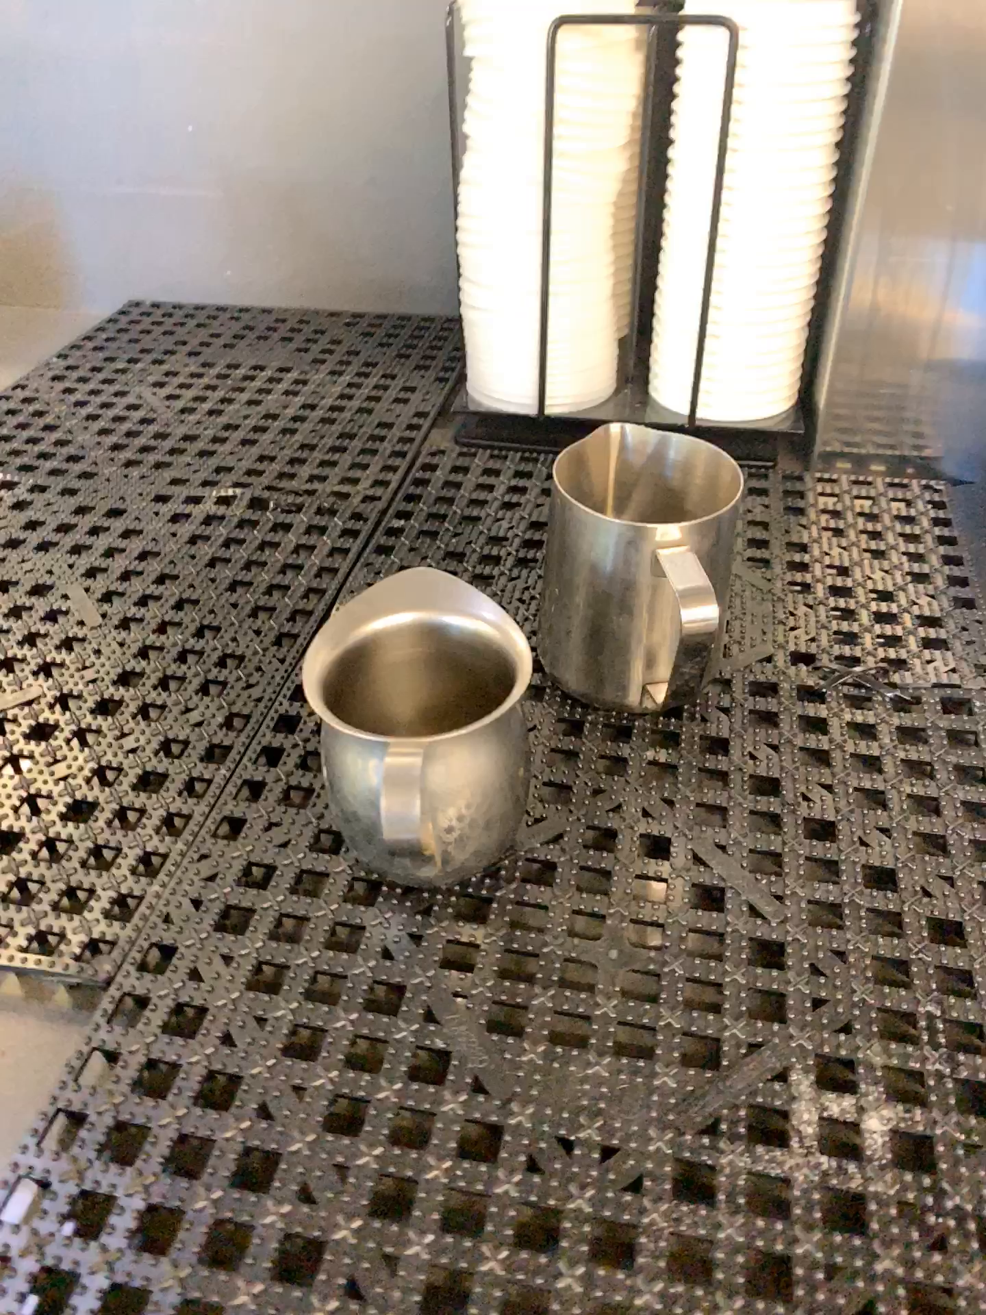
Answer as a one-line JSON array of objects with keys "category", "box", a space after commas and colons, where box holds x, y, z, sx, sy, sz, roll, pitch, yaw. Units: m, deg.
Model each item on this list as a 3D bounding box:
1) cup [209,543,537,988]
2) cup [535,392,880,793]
[{"category": "cup", "box": [-0.032, 0.027, 0.317, 0.080, 0.070, 0.121, -3, 37, -2]}, {"category": "cup", "box": [0.062, -0.028, 0.350, 0.080, 0.080, 0.121, -4, 37, -4]}]
